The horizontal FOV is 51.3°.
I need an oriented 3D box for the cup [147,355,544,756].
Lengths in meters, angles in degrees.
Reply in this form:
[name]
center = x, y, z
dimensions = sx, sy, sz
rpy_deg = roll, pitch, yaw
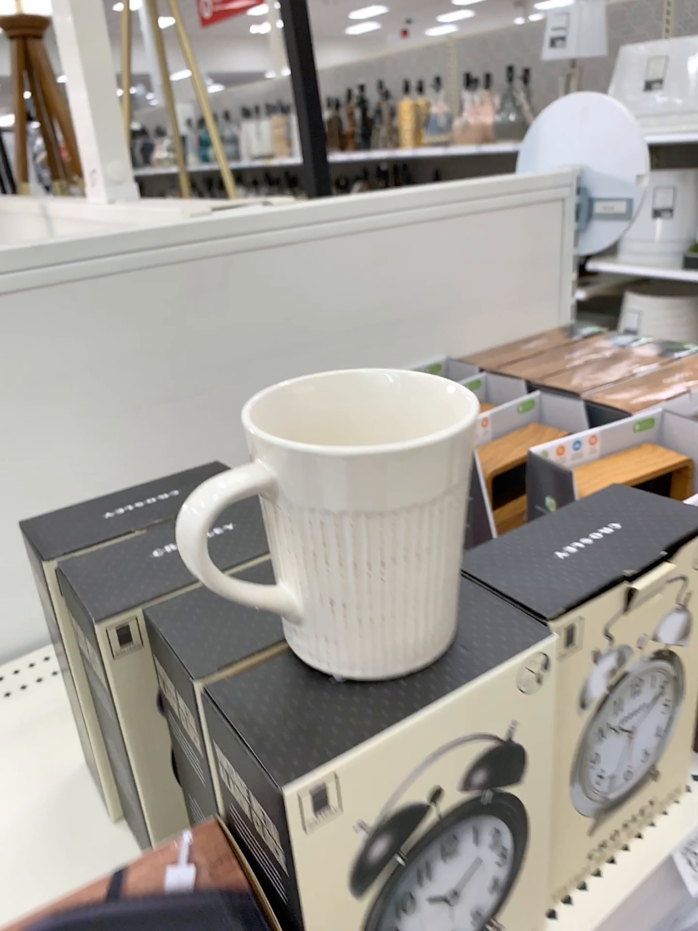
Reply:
[cup]
center = -0.002, 0.024, 0.282
dimensions = 0.117, 0.099, 0.084
rpy_deg = -14, 27, -28
